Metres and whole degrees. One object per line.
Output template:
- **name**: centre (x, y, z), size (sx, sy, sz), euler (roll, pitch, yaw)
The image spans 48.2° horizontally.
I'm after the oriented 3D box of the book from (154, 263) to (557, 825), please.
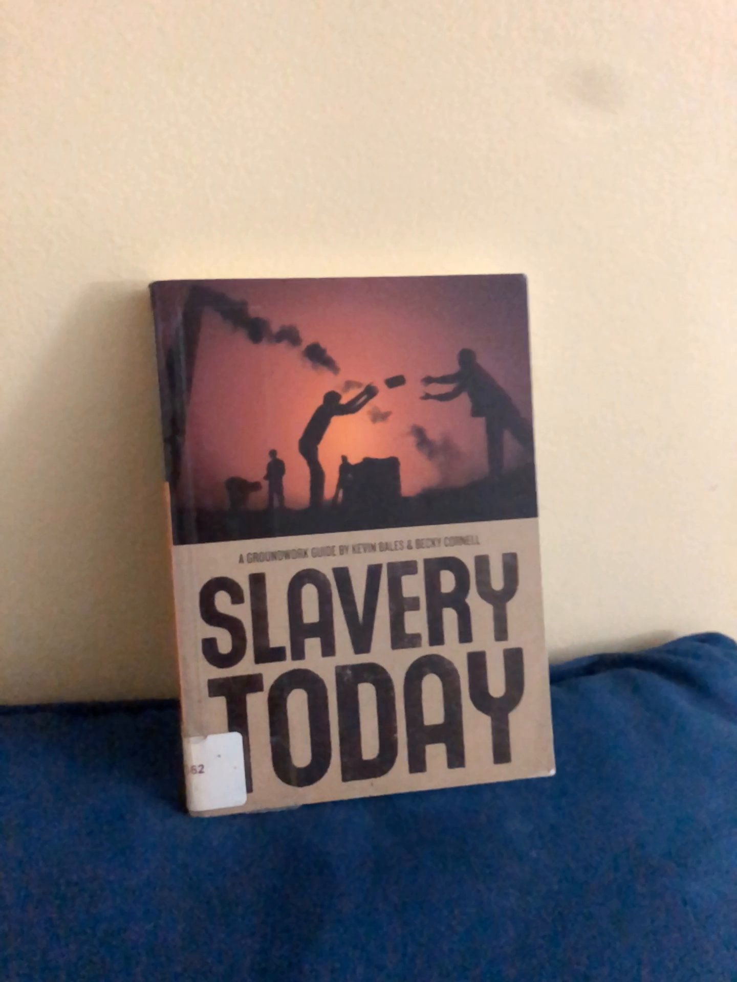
- **book**: centre (-0.004, 0.015, 0.292), size (0.127, 0.182, 0.028), euler (-3, 2, -9)
